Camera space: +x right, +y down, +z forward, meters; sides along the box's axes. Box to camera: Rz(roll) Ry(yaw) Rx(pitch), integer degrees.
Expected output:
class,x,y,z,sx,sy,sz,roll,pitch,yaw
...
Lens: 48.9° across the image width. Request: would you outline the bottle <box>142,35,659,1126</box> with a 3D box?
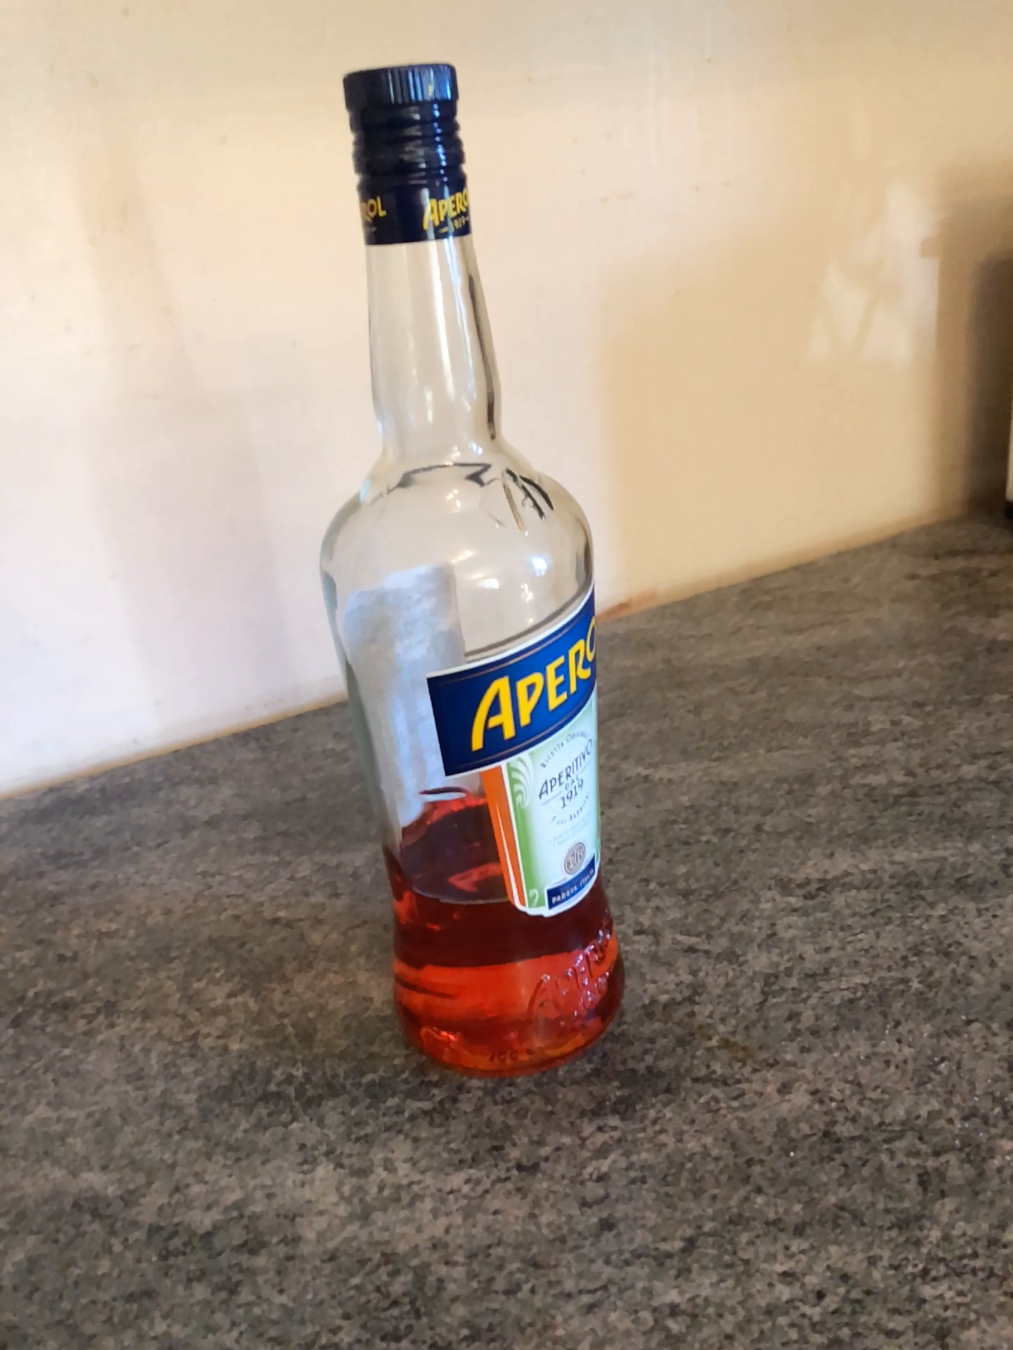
class,x,y,z,sx,sy,sz,roll,pitch,yaw
bottle,-0.020,-0.021,0.375,0.090,0.328,0.090,-6,24,2
